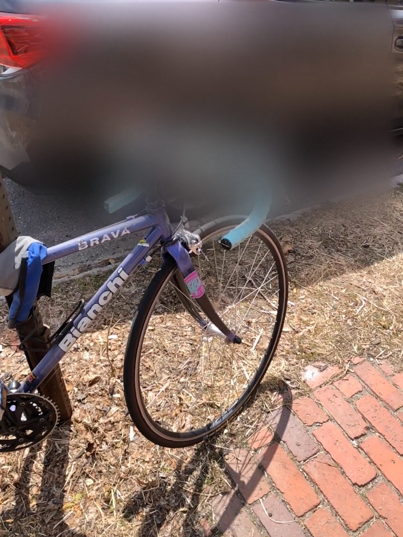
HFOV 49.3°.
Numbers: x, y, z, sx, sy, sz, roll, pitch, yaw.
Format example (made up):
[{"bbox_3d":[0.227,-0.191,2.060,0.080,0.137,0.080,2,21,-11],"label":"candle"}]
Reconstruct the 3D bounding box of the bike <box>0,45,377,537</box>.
[{"bbox_3d":[-0.448,0.076,1.000,1.450,0.734,0.462,-17,43,-16],"label":"bike"}]
